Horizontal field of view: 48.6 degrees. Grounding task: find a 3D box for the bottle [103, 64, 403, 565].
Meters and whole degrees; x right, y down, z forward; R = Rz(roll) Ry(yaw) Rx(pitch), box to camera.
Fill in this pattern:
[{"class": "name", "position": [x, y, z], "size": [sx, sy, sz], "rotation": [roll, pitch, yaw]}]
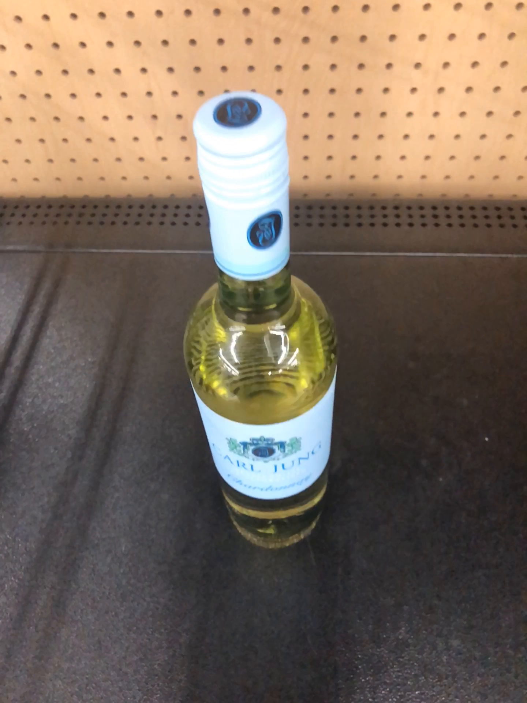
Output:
[{"class": "bottle", "position": [0.005, 0.027, 0.309], "size": [0.080, 0.319, 0.080], "rotation": [-2, 55, 3]}]
